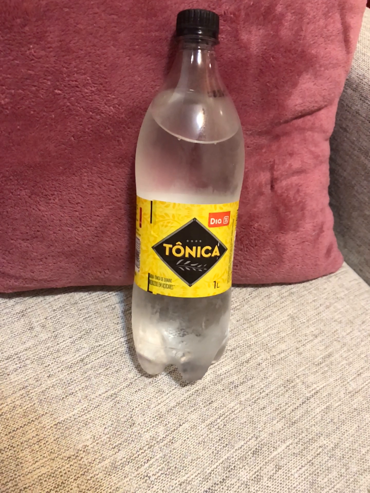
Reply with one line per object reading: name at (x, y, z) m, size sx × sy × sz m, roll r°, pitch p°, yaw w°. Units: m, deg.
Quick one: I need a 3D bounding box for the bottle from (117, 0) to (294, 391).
bottle at (0.000, -0.035, 0.328) m, size 0.100 × 0.269 × 0.100 m, roll 4°, pitch 17°, yaw -1°
